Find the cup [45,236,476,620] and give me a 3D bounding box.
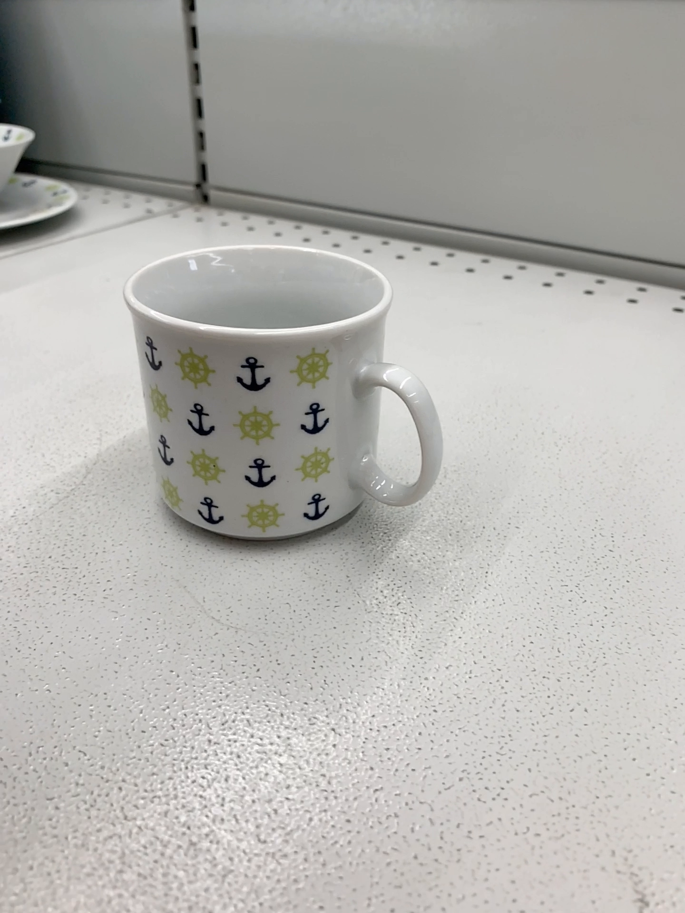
[{"bbox_3d":[-0.018,-0.016,0.218,0.096,0.076,0.078,10,31,15],"label":"cup"}]
